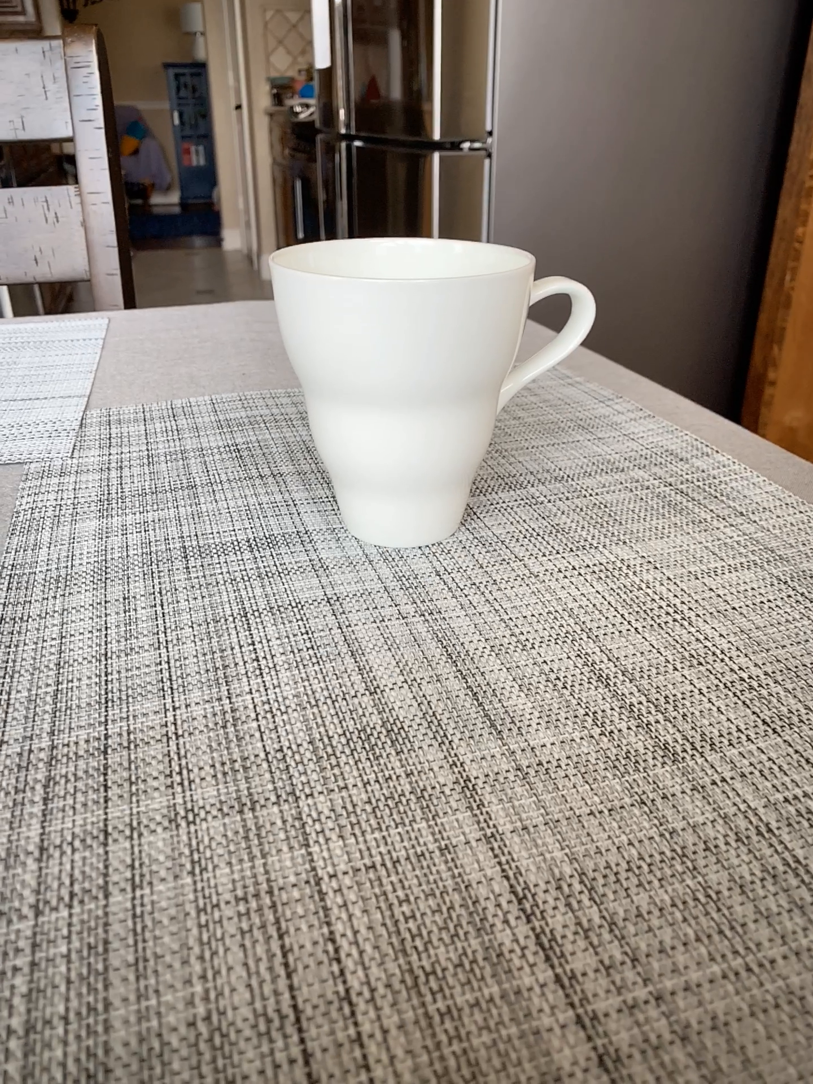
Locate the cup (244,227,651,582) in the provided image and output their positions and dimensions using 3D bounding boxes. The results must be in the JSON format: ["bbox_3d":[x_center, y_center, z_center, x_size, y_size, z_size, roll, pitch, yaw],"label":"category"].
[{"bbox_3d":[0.008,-0.060,0.326,0.121,0.098,0.099,-8,30,-15],"label":"cup"}]
